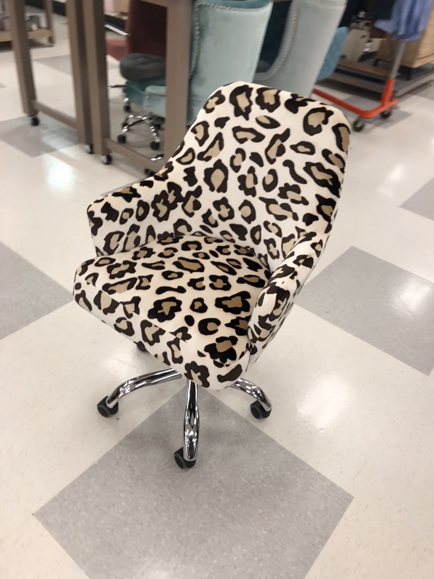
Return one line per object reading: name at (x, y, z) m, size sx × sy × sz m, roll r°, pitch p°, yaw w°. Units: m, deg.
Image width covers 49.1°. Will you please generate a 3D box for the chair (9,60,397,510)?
chair at (-0.048, -0.038, 1.285) m, size 0.600 × 0.887 × 0.582 m, roll 29°, pitch 43°, yaw 26°
